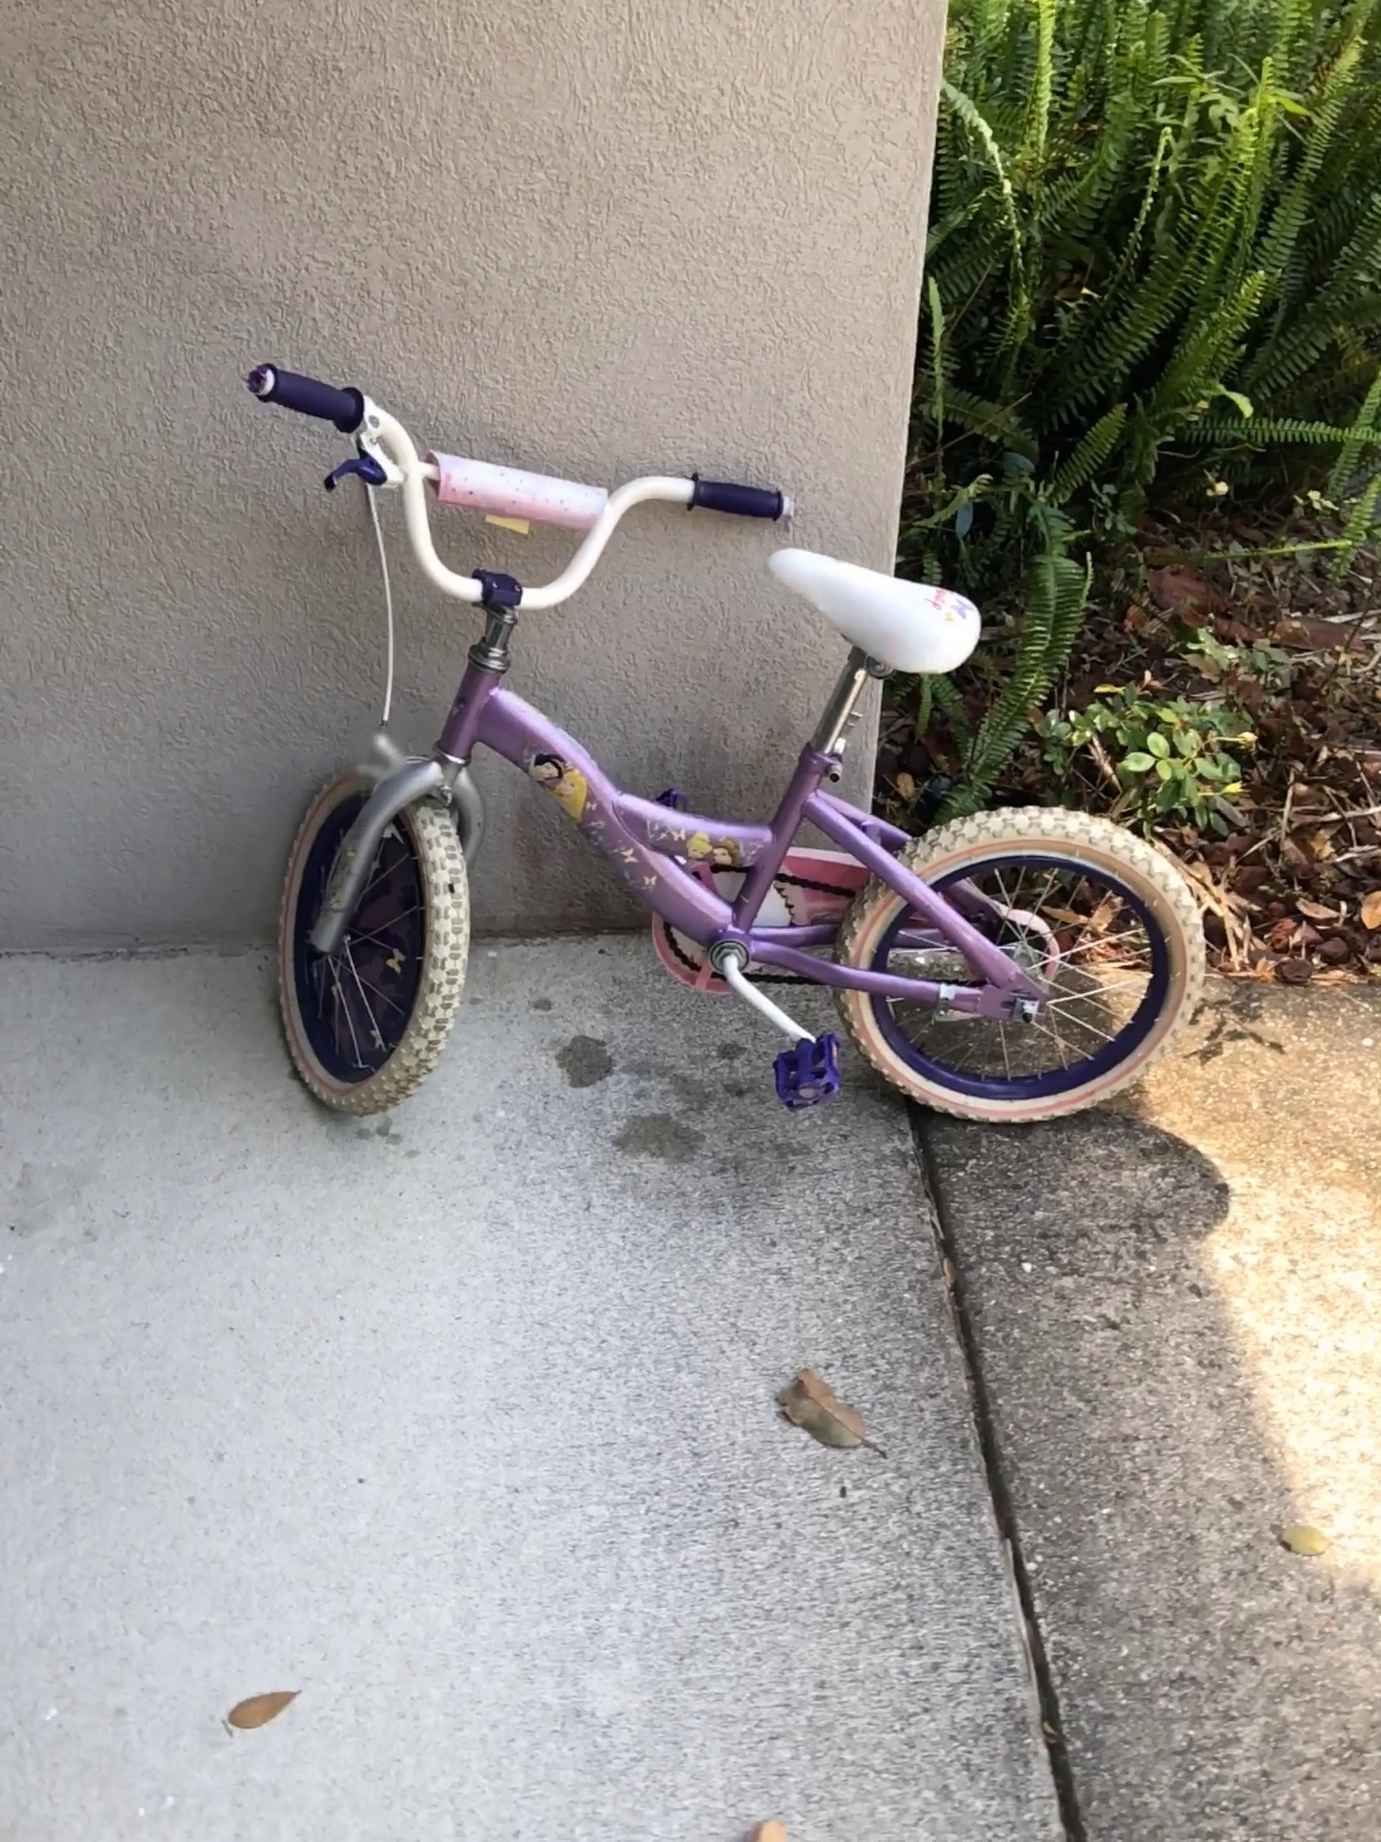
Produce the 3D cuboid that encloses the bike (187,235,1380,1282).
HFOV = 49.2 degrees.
[{"bbox_3d":[0.106,-0.162,1.517,0.845,0.816,0.619,2,41,4],"label":"bike"}]
